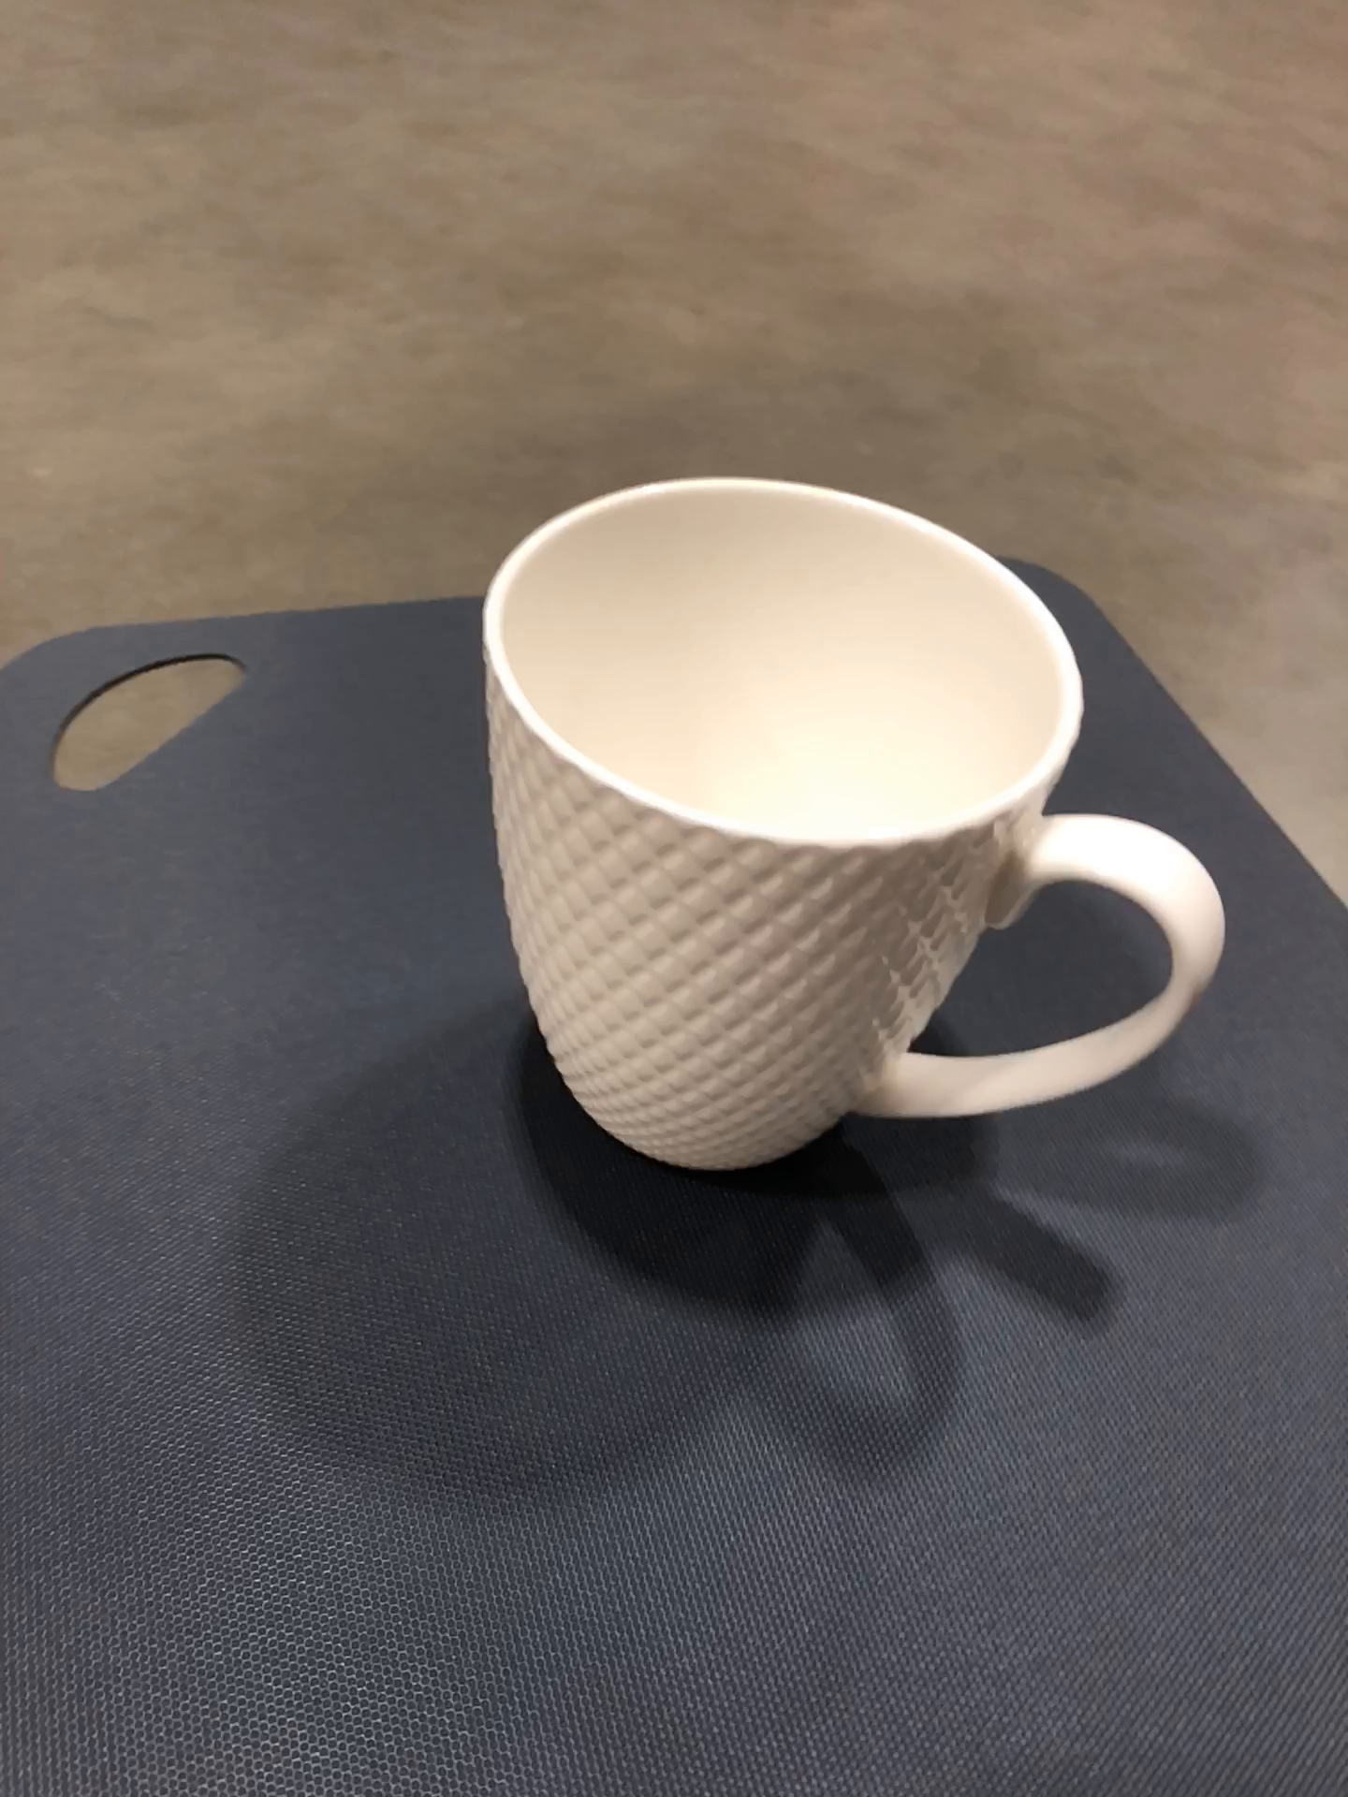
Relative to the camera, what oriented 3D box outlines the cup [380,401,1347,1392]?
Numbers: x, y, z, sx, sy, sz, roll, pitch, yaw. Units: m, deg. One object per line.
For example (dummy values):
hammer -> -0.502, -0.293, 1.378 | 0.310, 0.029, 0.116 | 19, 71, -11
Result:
cup -> 0.032, -0.006, 0.259 | 0.130, 0.090, 0.090 | 27, 47, 19
